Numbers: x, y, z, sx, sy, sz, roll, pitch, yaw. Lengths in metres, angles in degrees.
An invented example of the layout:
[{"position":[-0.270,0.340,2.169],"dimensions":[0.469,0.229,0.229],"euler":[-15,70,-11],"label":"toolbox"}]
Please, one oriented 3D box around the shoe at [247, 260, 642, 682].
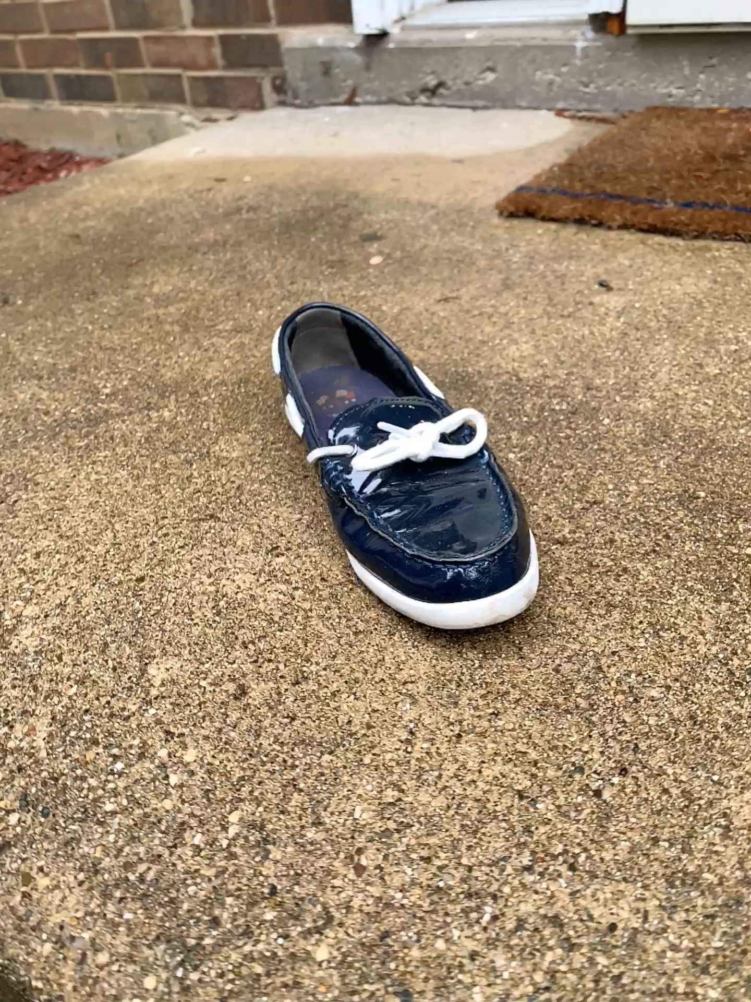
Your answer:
[{"position":[0.015,-0.038,0.402],"dimensions":[0.101,0.083,0.246],"euler":[-16,37,-13],"label":"shoe"}]
